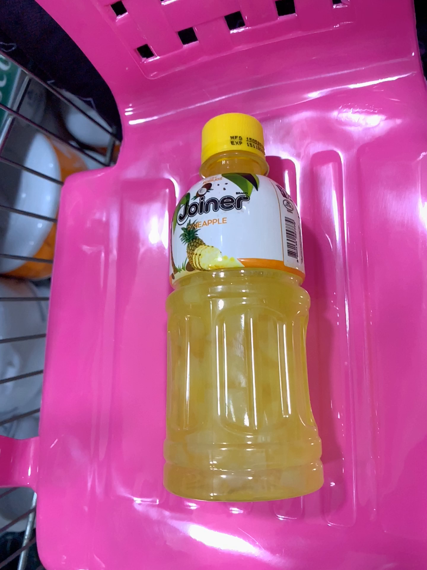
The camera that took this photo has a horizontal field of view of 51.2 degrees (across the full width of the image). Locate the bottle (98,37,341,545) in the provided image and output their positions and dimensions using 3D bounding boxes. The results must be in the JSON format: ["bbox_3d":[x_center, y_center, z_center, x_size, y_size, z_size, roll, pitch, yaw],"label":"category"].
[{"bbox_3d":[-0.001,0.002,0.183,0.070,0.060,0.160,-11,77,38],"label":"bottle"}]
